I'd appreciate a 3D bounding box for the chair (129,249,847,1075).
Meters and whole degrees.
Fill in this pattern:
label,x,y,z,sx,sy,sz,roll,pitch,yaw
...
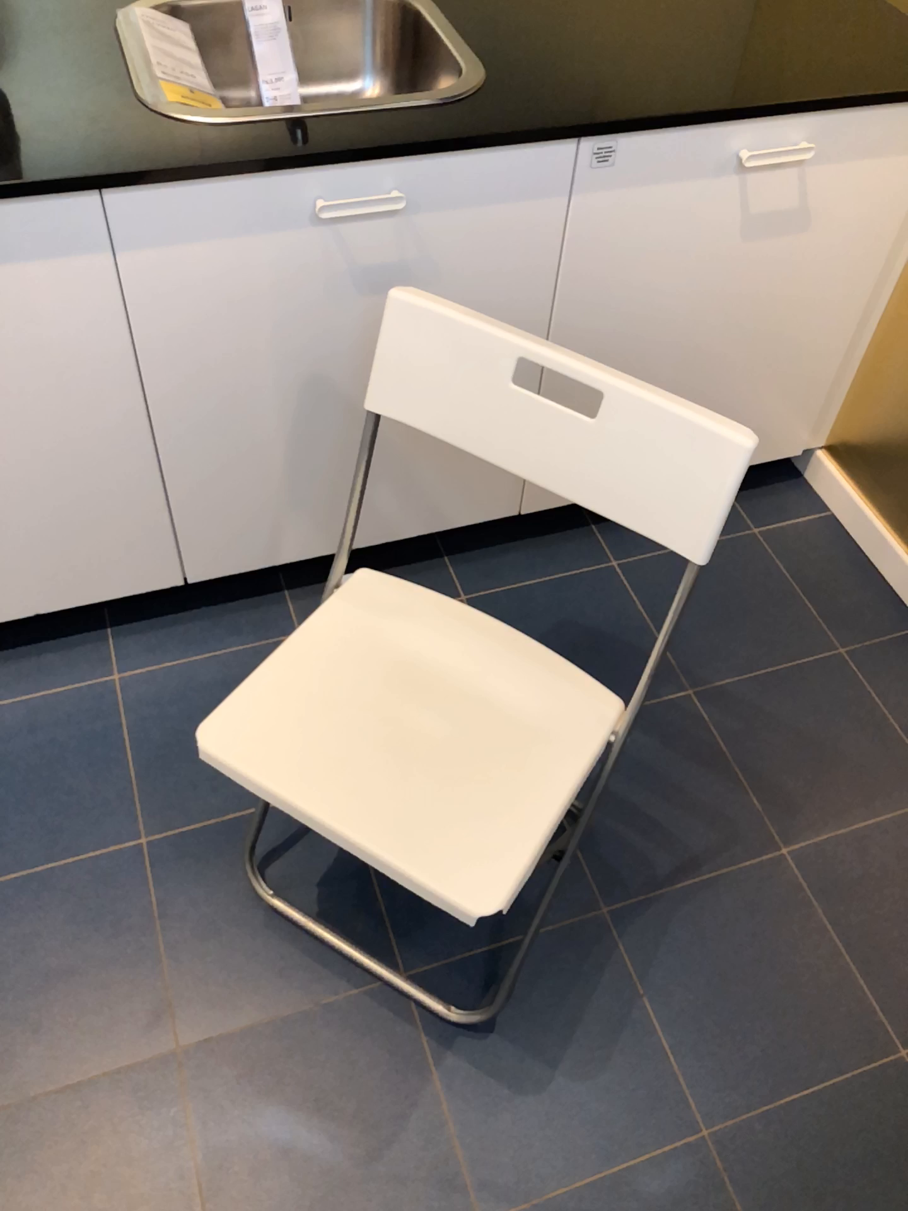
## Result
label,x,y,z,sx,sy,sz,roll,pitch,yaw
chair,0.038,0.102,1.246,0.491,0.775,0.522,27,53,17
